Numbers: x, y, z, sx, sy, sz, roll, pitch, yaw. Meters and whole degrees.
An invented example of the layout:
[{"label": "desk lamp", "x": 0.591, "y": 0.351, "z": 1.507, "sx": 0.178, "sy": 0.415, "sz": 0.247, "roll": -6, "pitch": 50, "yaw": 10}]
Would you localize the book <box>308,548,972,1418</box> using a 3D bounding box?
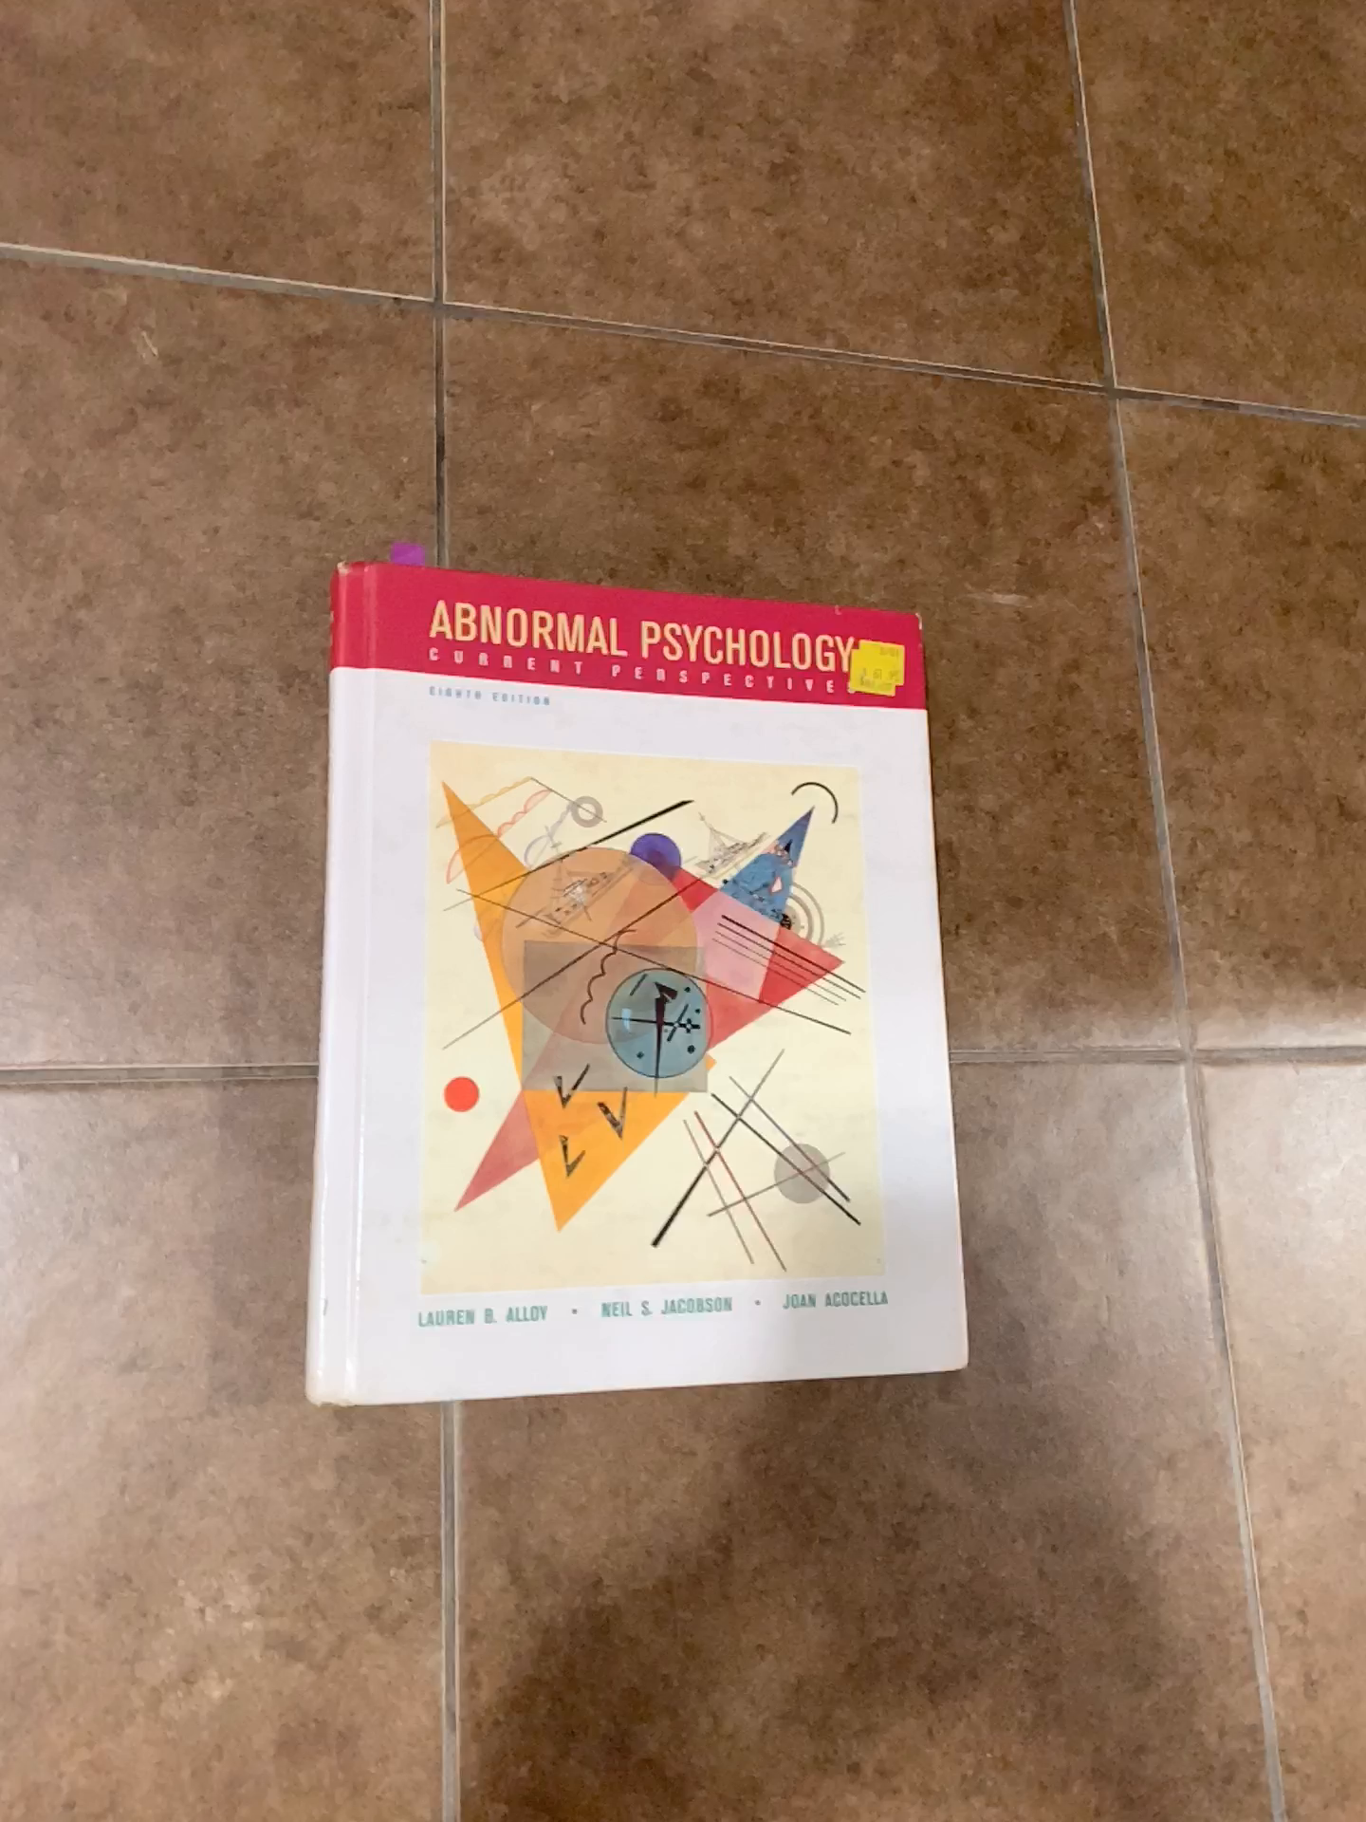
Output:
[{"label": "book", "x": -0.015, "y": 0.020, "z": 0.500, "sx": 0.223, "sy": 0.032, "sz": 0.288, "roll": 2, "pitch": 78, "yaw": -15}]
